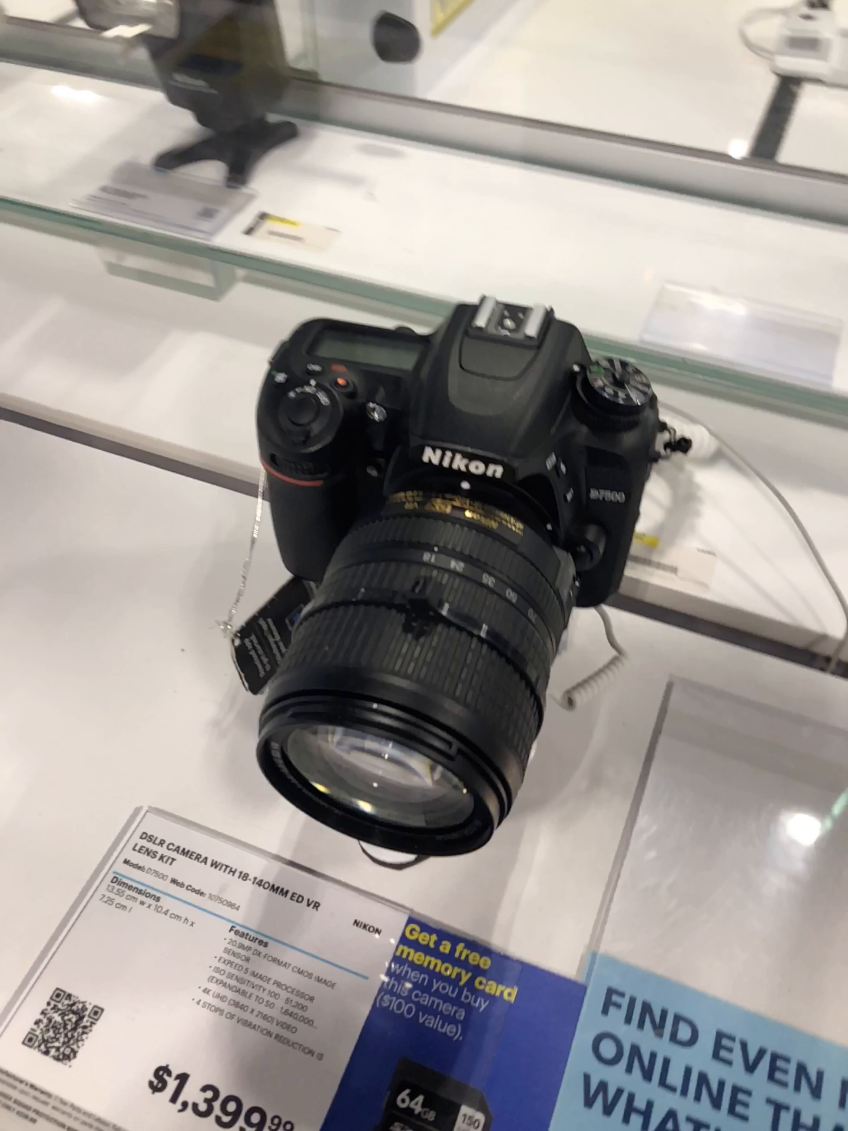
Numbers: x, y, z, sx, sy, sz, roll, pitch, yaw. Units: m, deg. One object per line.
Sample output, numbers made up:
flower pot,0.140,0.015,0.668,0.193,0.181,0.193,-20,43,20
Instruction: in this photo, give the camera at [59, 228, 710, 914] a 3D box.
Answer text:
camera,0.004,-0.013,0.312,0.140,0.089,0.191,13,50,11
